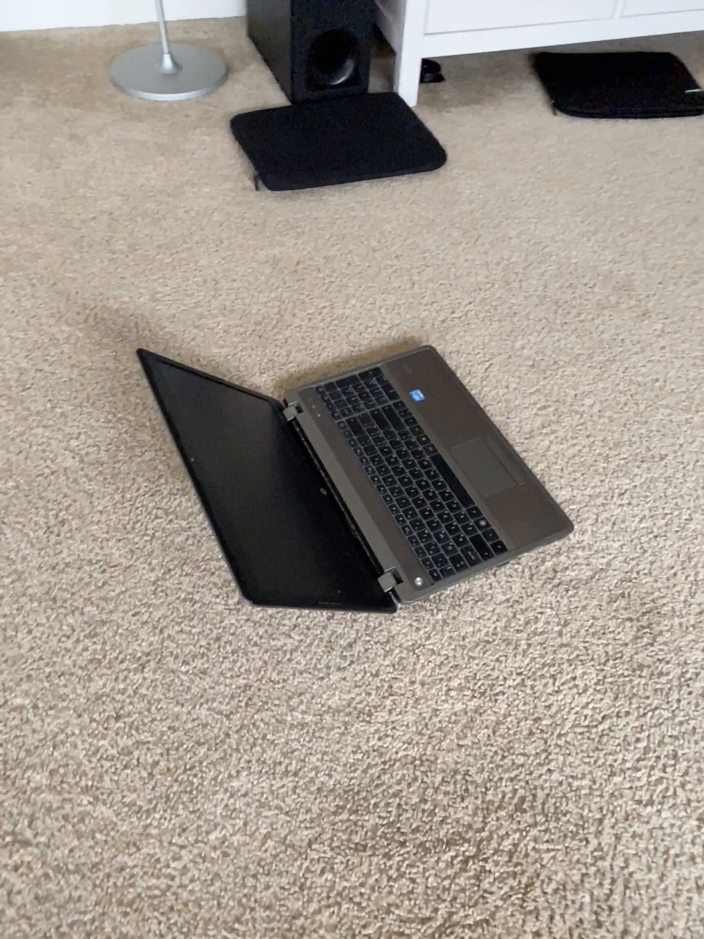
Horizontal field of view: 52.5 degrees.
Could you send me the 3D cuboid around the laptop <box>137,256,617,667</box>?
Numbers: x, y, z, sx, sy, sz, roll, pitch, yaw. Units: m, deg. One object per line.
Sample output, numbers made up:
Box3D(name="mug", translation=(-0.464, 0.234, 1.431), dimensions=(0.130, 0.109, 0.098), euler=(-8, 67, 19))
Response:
Box3D(name="laptop", translation=(0.014, -0.038, 0.892), dimensions=(0.435, 0.162, 0.376), euler=(-20, 56, -17))
